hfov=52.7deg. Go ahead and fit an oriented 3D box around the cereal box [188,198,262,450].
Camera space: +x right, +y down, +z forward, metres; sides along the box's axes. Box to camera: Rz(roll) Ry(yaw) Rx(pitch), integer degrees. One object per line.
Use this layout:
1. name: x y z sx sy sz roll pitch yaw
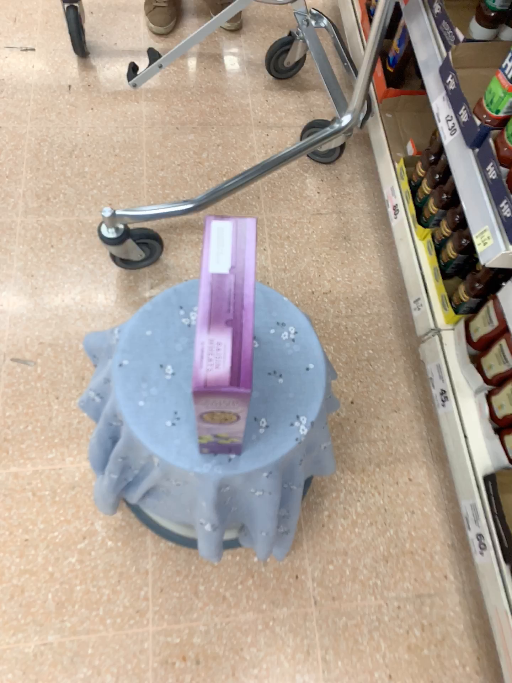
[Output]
1. cereal box: -0.034 -0.003 0.588 0.060 0.239 0.201 3 66 -3
